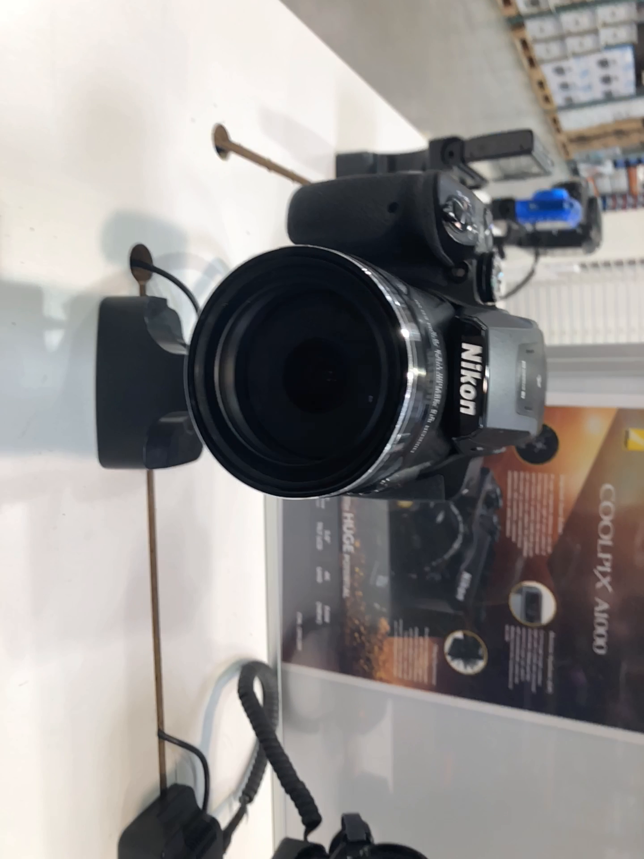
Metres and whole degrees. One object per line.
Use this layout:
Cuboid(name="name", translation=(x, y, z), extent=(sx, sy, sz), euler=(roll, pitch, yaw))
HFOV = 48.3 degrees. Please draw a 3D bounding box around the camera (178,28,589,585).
Cuboid(name="camera", translation=(0.036, -0.035, 0.272), extent=(0.151, 0.109, 0.140), euler=(-6, 97, -66))
